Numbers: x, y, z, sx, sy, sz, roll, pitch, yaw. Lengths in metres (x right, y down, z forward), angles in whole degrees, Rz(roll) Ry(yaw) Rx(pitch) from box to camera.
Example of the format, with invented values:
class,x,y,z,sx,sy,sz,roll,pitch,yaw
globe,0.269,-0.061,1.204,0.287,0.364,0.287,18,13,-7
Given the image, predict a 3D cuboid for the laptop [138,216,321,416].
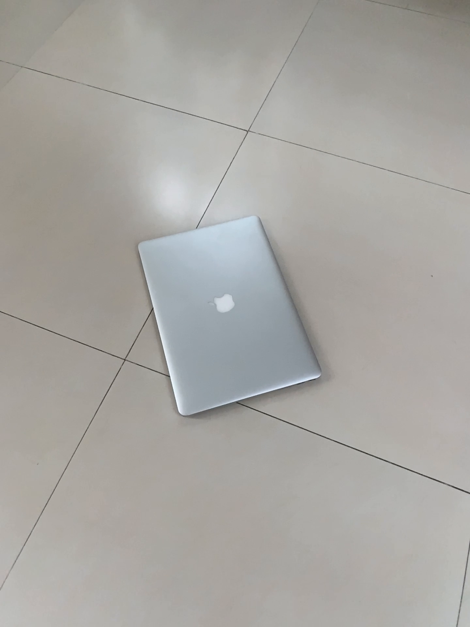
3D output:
class,x,y,z,sx,sy,sz,roll,pitch,yaw
laptop,-0.023,-0.016,0.864,0.239,0.001,0.356,-15,62,-8
